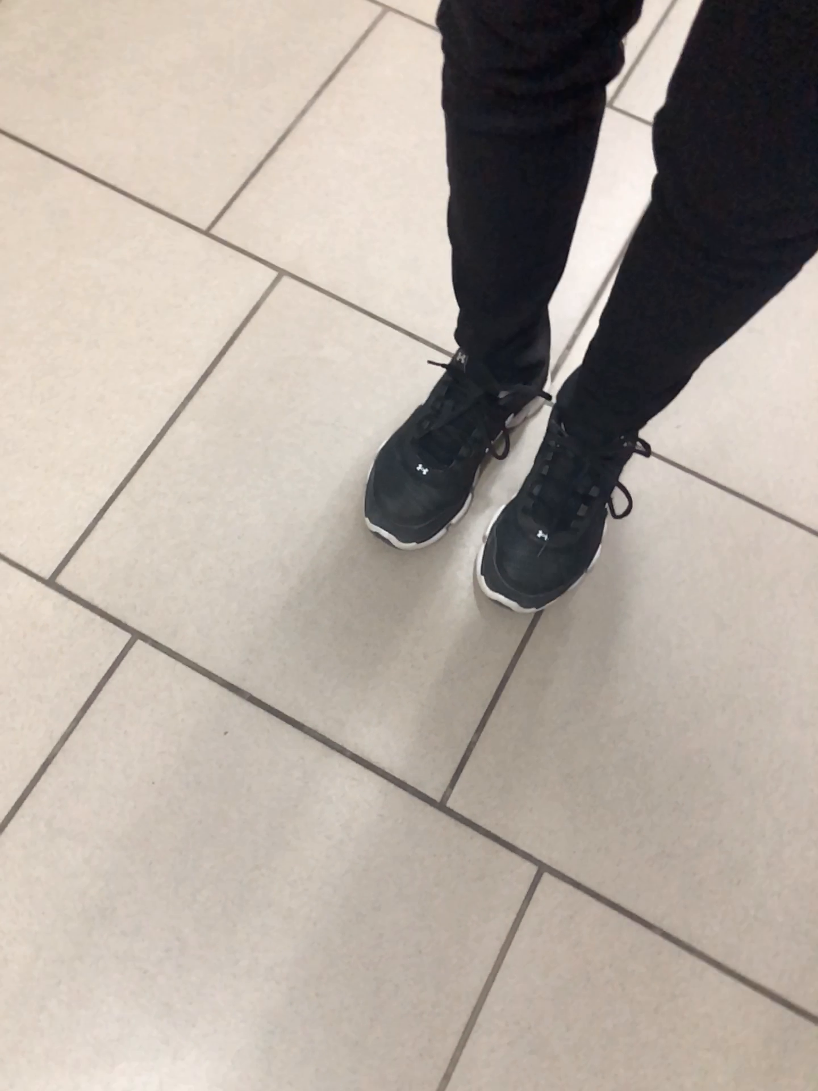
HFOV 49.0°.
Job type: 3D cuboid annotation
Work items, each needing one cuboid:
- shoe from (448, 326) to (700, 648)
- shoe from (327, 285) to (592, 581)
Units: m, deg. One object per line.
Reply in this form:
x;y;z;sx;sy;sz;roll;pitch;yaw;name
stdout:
0.153;-0.057;0.834;0.110;0.090;0.270;29;69;8;shoe
0.049;-0.109;0.860;0.110;0.090;0.260;36;71;11;shoe
